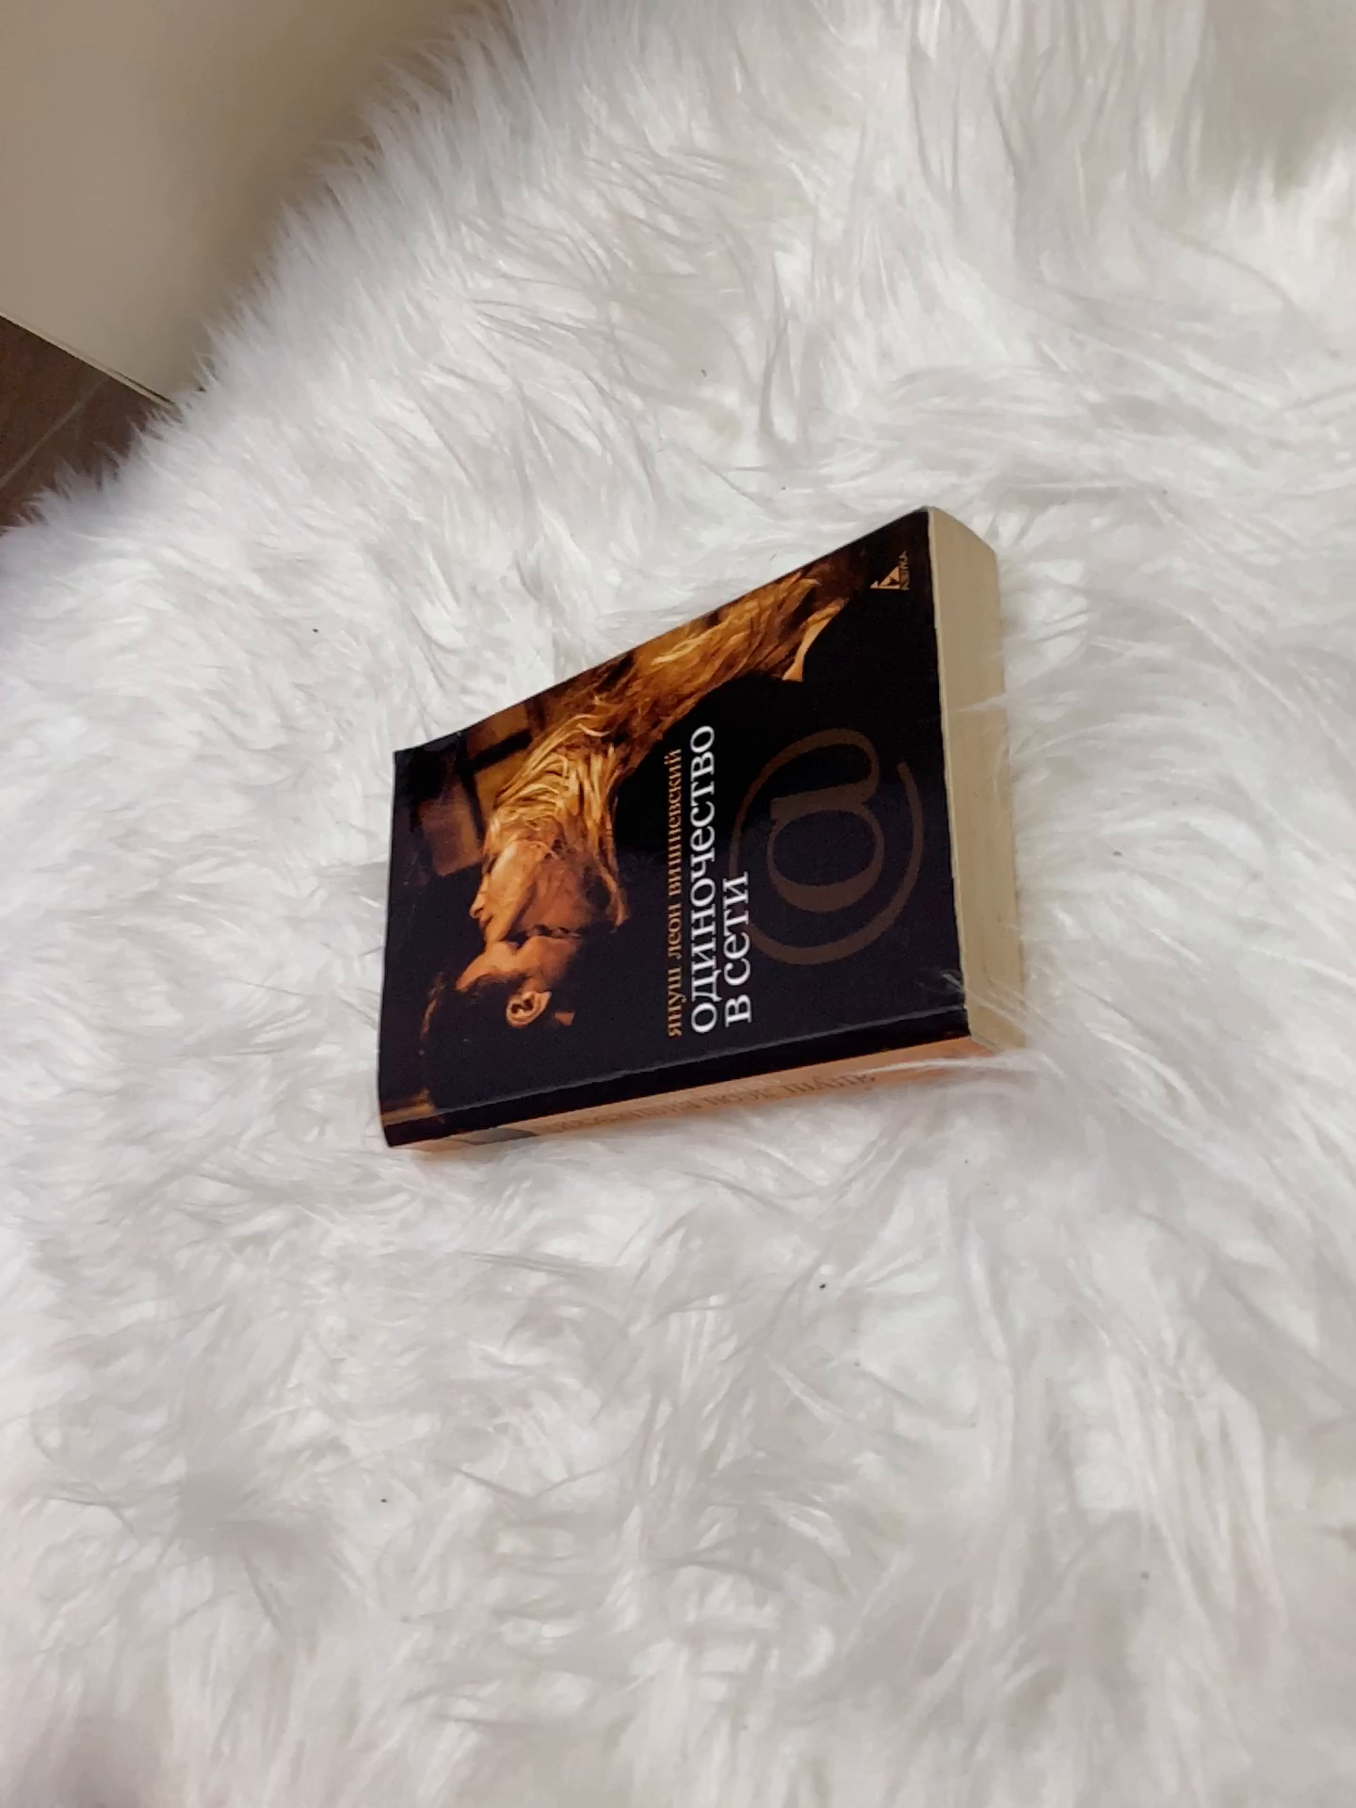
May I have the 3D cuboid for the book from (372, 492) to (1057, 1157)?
[{"bbox_3d":[-0.004,-0.008,0.334,0.177,0.030,0.113,-17,65,38],"label":"book"}]
